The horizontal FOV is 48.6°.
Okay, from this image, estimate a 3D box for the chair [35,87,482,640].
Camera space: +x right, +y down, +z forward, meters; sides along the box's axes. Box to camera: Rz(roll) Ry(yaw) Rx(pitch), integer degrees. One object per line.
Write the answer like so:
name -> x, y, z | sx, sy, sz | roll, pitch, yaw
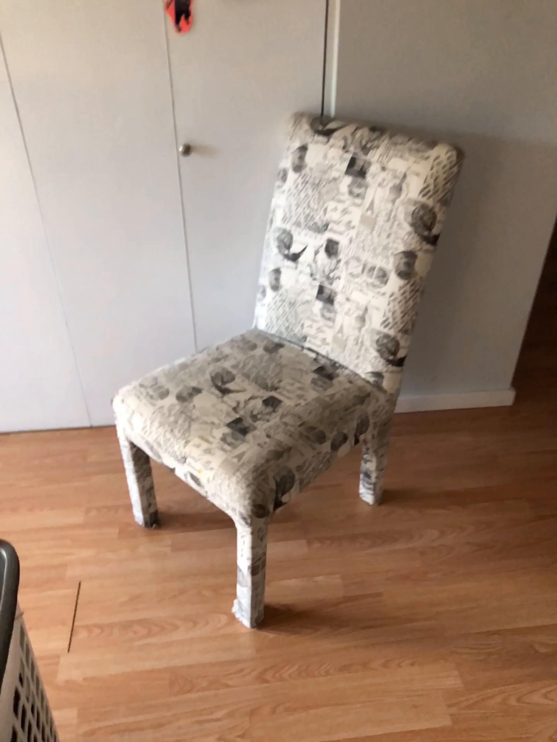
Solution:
chair -> -0.020, -0.042, 1.454 | 0.521, 0.997, 0.671 | 29, 45, 35
